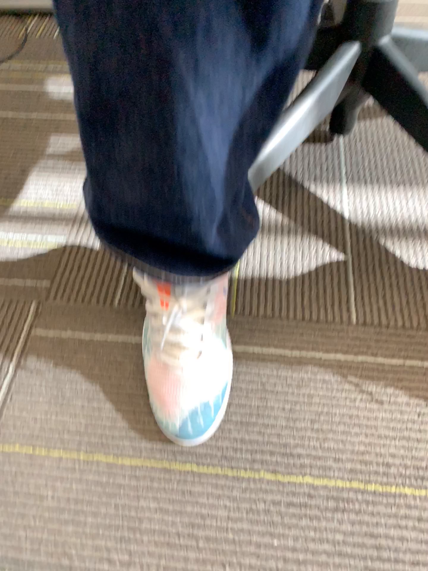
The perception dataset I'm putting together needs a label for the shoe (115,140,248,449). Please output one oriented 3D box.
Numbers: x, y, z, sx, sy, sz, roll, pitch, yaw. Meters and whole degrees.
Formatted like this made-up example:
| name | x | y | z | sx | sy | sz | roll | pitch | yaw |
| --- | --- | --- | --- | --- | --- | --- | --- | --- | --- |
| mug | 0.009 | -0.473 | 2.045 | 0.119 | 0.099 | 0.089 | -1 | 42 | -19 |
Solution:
| name | x | y | z | sx | sy | sz | roll | pitch | yaw |
| --- | --- | --- | --- | --- | --- | --- | --- | --- | --- |
| shoe | -0.028 | 0.006 | 0.459 | 0.106 | 0.109 | 0.303 | -2 | 66 | 1 |
